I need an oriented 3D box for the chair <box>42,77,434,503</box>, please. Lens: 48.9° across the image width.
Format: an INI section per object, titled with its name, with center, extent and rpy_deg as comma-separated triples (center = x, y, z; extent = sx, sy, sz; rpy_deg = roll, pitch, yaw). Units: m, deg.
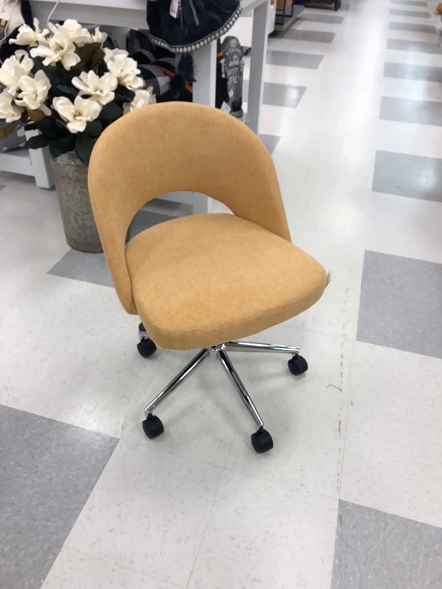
[chair]
center = -0.008, -0.057, 1.270
extent = 0.583, 0.749, 0.637
rpy_deg = -20, 44, -26
